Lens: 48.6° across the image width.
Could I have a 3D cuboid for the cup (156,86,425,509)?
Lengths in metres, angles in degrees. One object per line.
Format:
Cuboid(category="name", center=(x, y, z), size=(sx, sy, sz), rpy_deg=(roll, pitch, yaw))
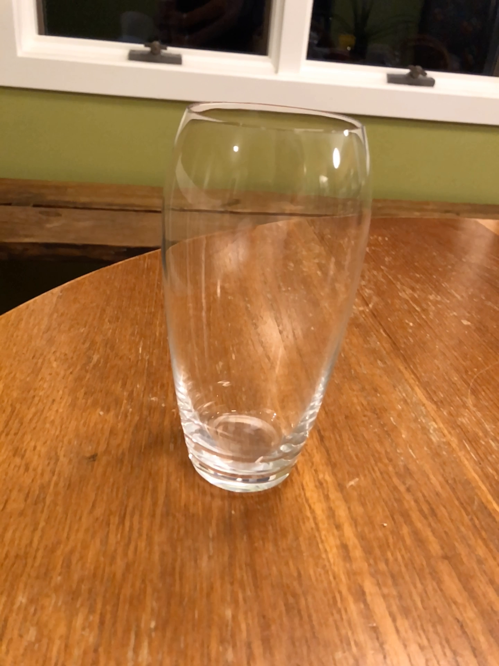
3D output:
Cuboid(category="cup", center=(0.002, -0.014, 0.239), size=(0.081, 0.156, 0.081), rpy_deg=(4, 29, -2))
